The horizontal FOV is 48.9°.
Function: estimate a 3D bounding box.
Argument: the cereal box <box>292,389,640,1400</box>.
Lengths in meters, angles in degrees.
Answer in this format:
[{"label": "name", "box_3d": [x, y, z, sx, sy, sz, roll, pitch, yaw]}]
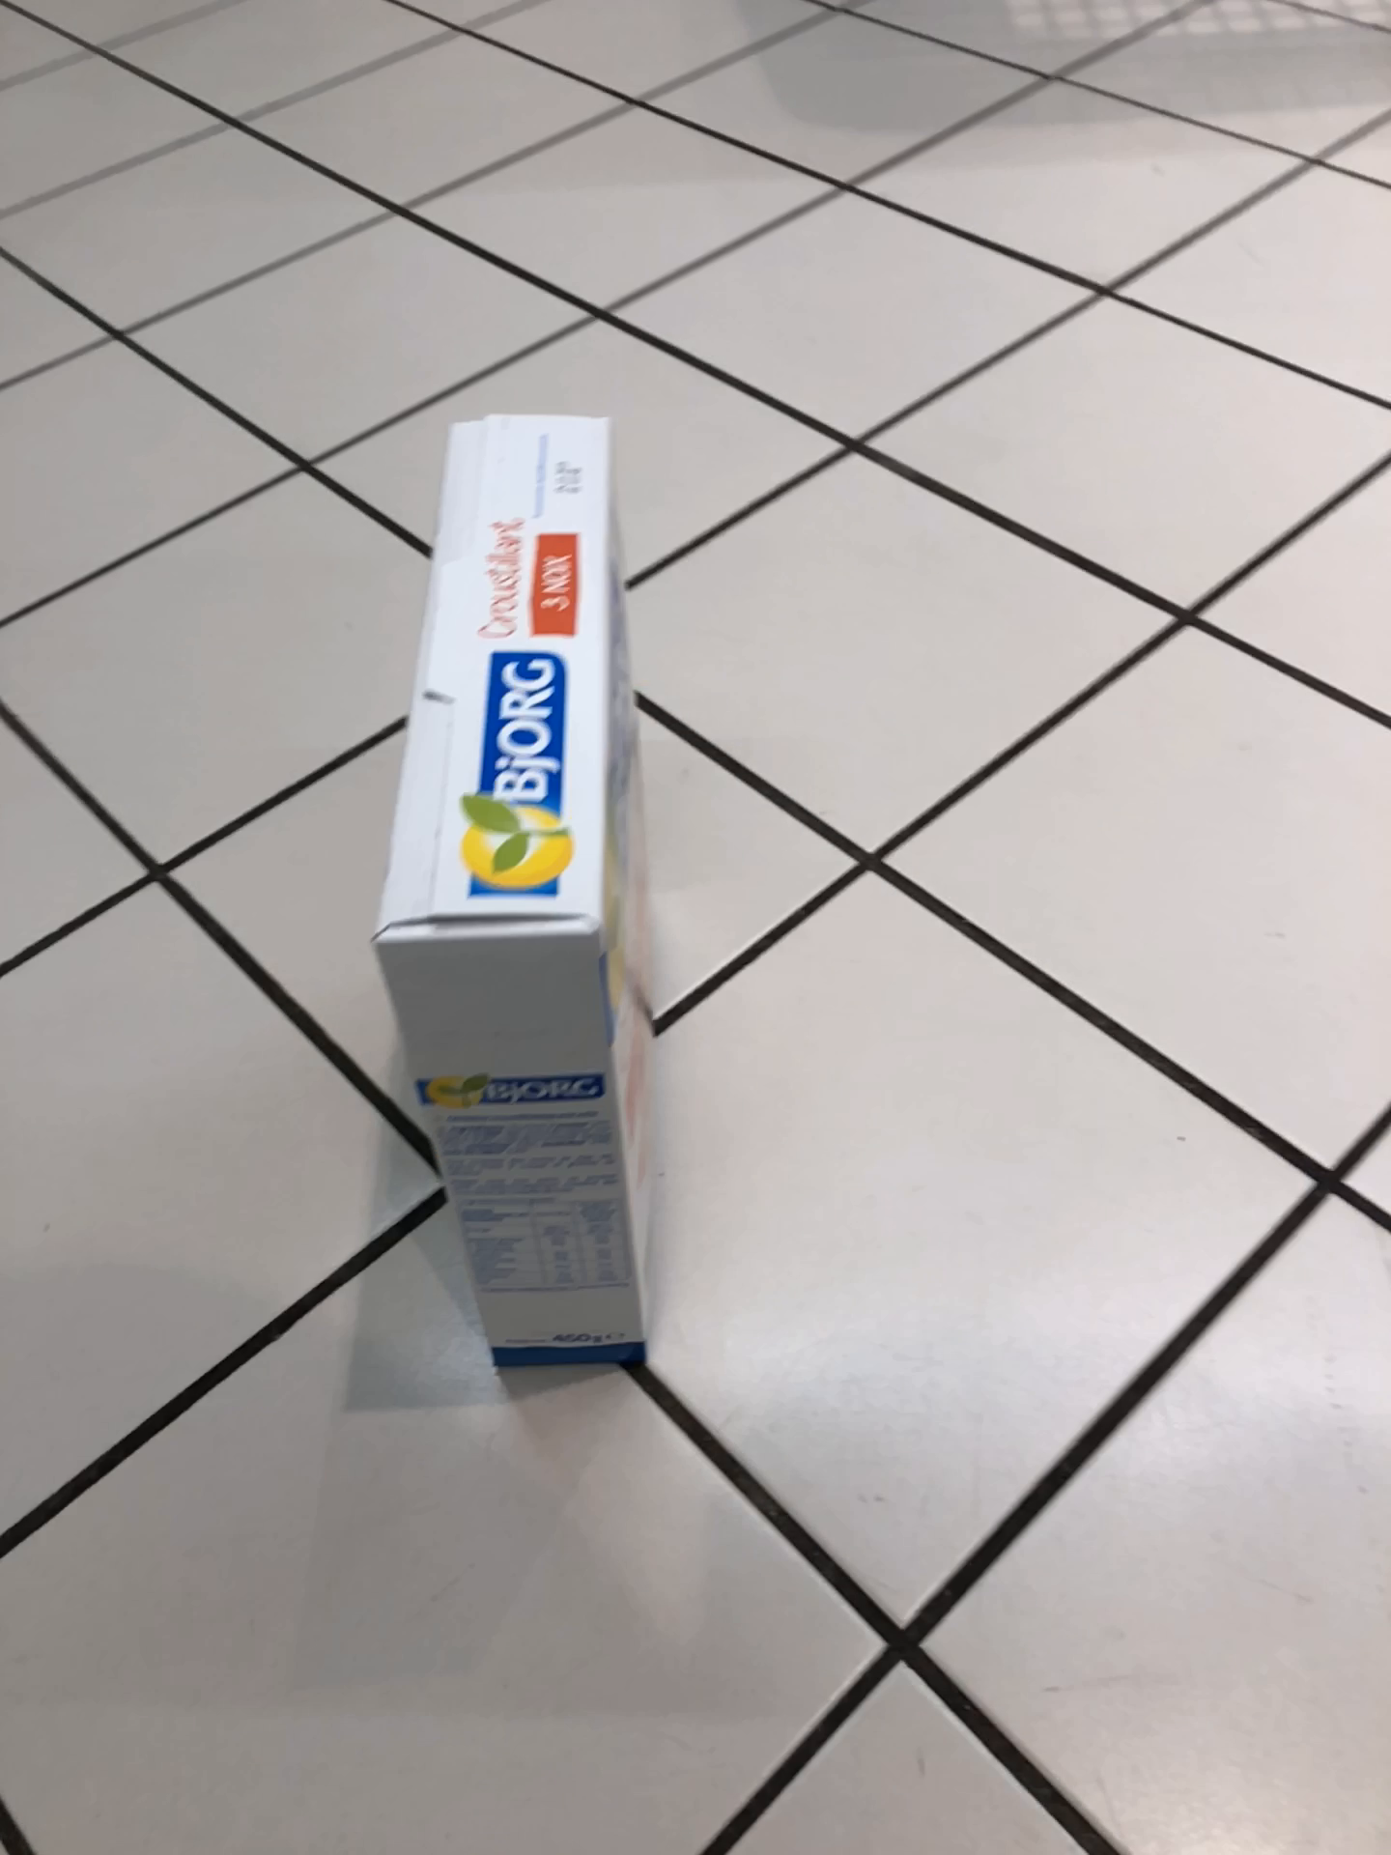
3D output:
[{"label": "cereal box", "box_3d": [-0.051, -0.004, 0.458, 0.060, 0.219, 0.211, 0, 50, 0]}]
